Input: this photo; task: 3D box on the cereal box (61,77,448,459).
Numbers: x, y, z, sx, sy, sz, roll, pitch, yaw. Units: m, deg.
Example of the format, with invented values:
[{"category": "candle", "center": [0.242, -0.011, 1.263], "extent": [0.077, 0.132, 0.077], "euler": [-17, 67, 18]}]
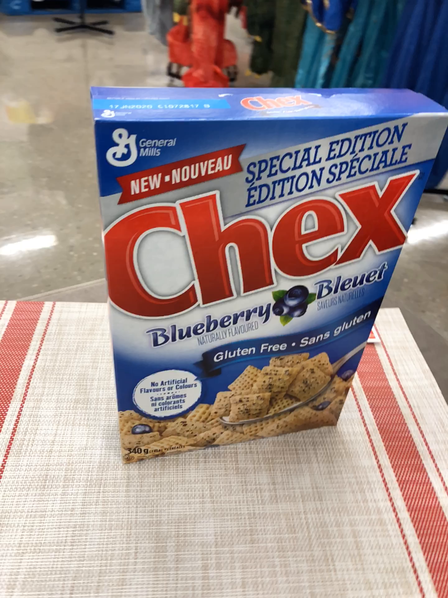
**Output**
[{"category": "cereal box", "center": [0.008, -0.006, 0.342], "extent": [0.200, 0.259, 0.050], "euler": [-6, 40, -15]}]
